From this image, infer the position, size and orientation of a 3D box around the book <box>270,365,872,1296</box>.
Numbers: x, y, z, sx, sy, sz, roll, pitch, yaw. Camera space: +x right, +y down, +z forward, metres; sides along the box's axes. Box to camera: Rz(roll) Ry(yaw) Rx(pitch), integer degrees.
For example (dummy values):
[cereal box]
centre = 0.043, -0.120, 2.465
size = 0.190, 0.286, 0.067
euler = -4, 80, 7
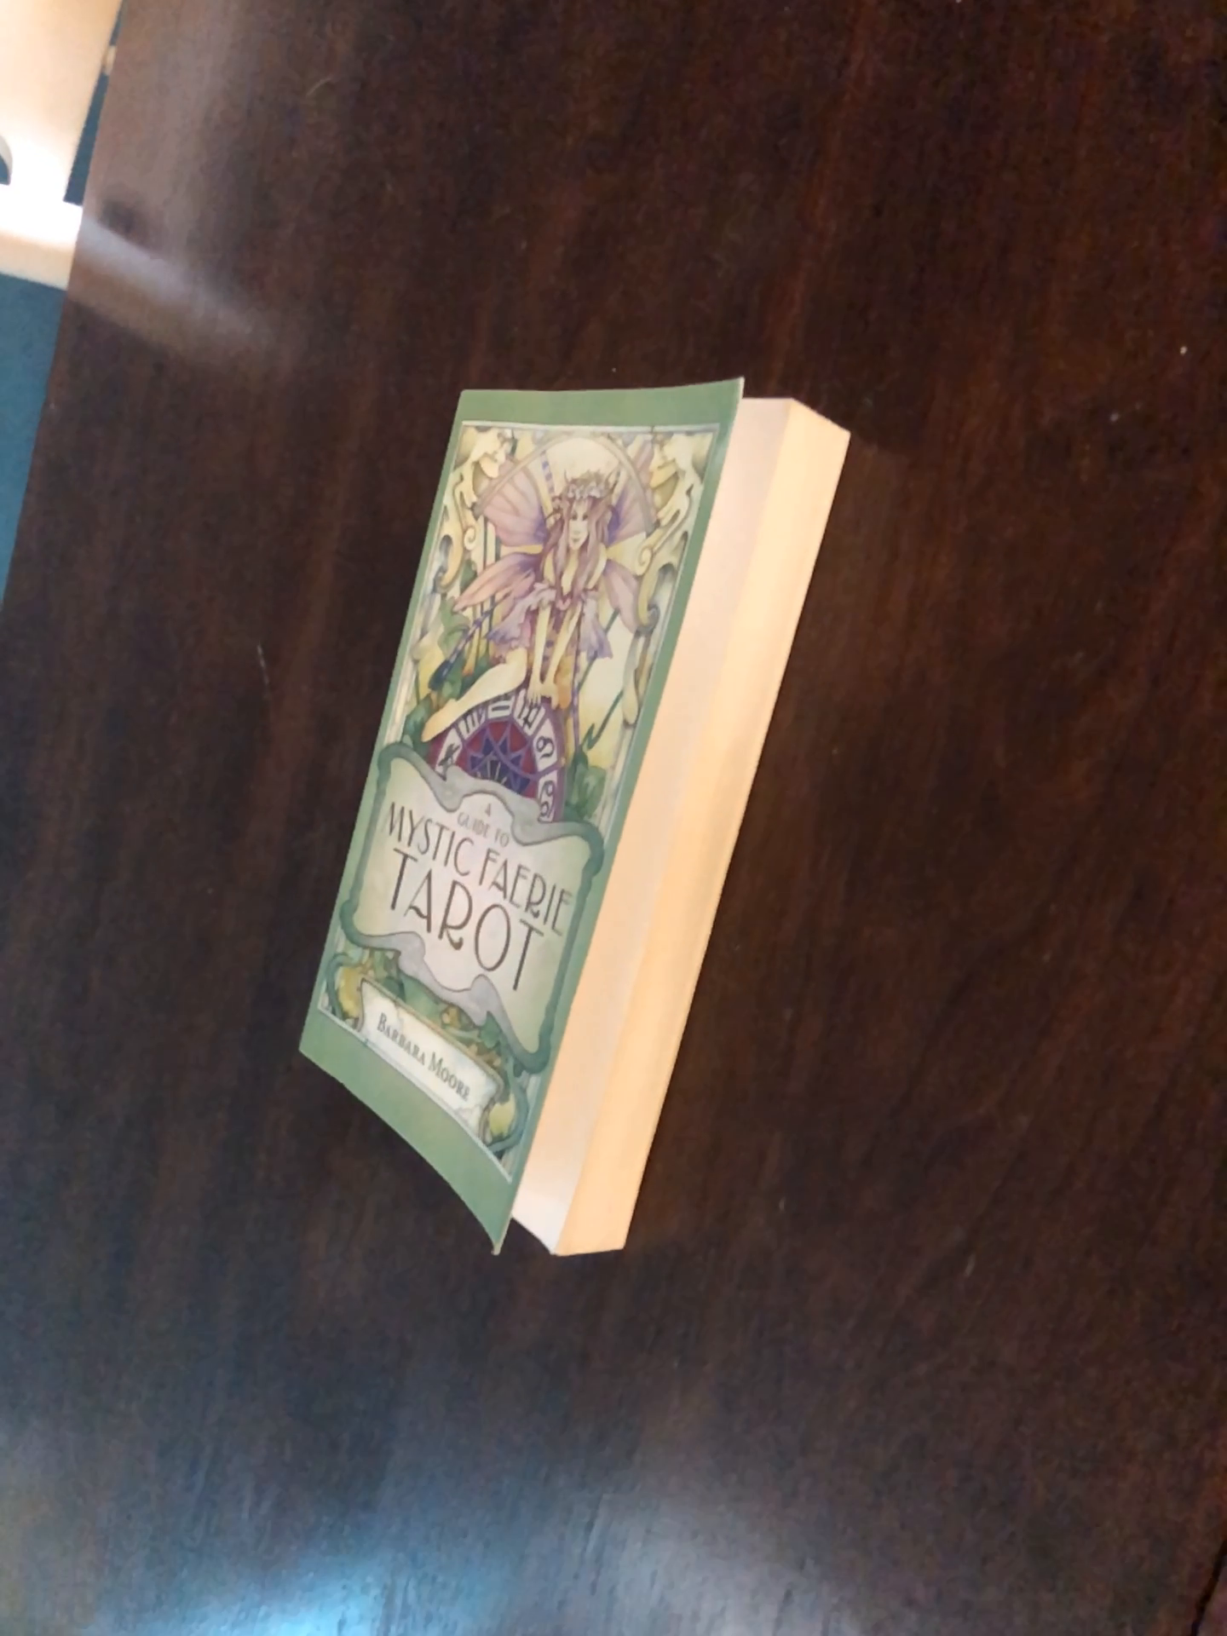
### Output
[book]
centre = -0.023, -0.008, 0.356
size = 0.140, 0.032, 0.209
euler = 22, 100, 49
